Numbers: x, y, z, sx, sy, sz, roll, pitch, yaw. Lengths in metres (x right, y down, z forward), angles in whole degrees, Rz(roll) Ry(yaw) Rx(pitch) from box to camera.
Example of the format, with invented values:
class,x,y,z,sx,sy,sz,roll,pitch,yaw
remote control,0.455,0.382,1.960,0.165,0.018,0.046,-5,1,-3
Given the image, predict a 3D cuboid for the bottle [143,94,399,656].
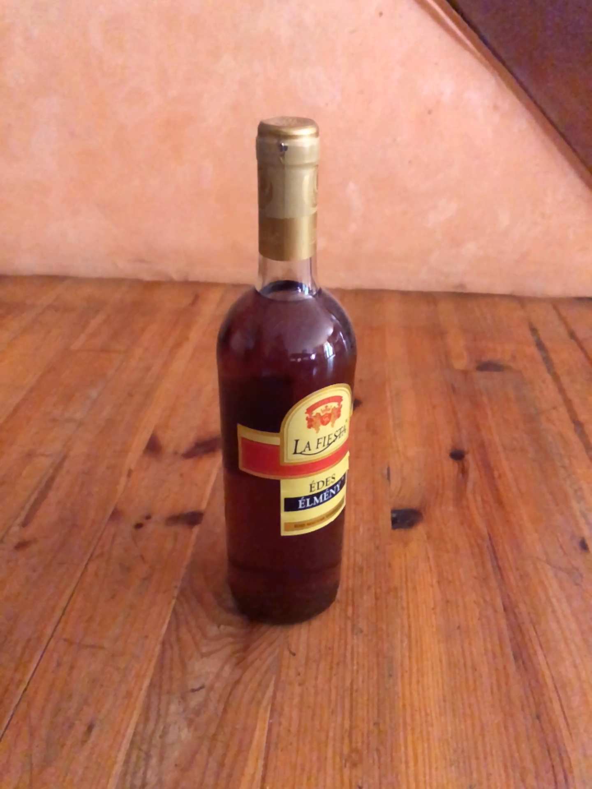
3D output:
class,x,y,z,sx,sy,sz,roll,pitch,yaw
bottle,-0.012,0.001,0.358,0.080,0.288,0.080,0,32,0
